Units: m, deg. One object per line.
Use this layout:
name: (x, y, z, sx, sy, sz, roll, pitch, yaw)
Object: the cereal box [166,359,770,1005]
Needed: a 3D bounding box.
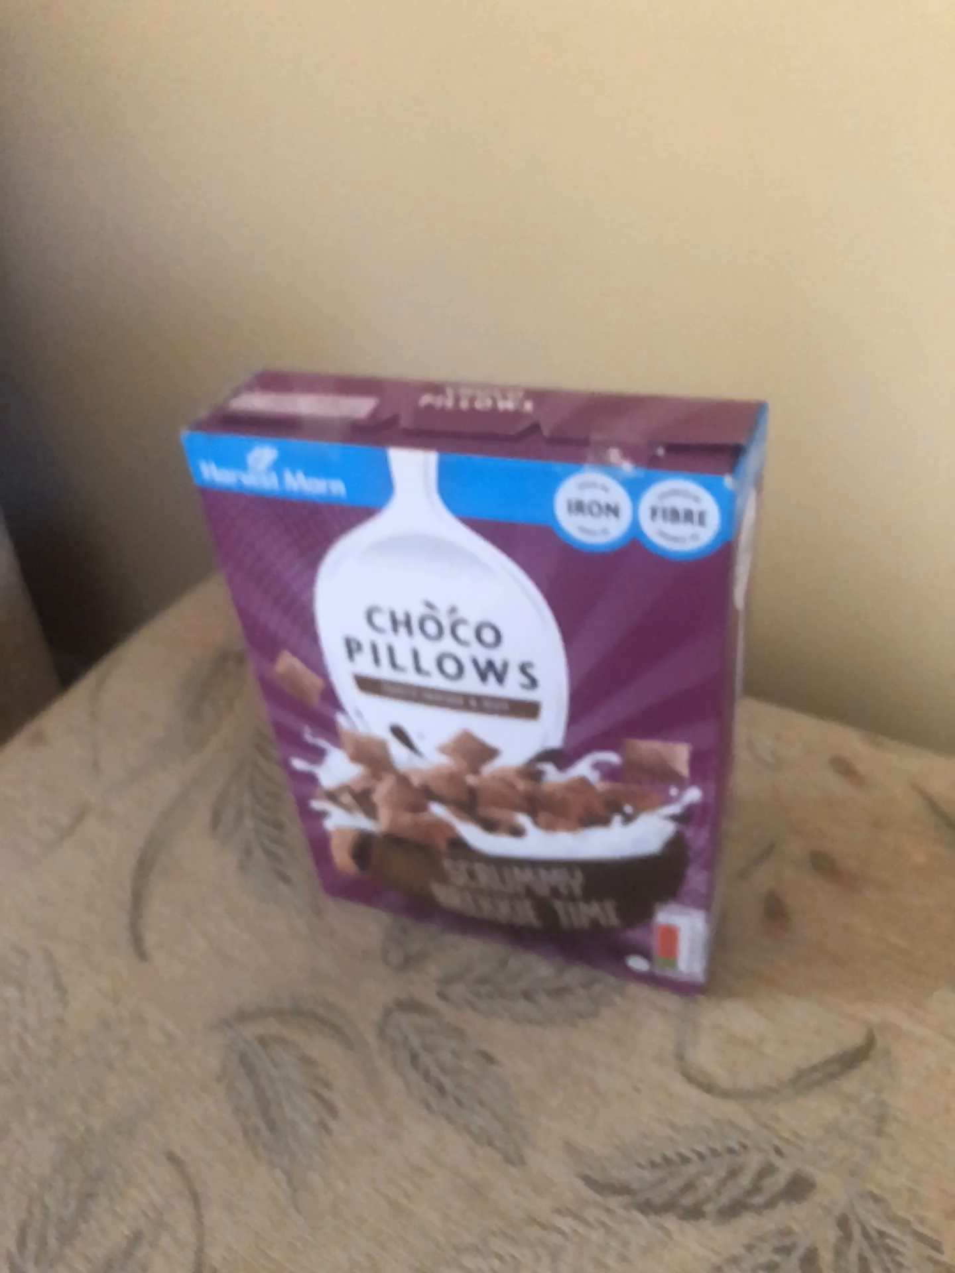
cereal box: (0.006, 0.031, 0.458, 0.200, 0.278, 0.060, 8, 42, 16)
